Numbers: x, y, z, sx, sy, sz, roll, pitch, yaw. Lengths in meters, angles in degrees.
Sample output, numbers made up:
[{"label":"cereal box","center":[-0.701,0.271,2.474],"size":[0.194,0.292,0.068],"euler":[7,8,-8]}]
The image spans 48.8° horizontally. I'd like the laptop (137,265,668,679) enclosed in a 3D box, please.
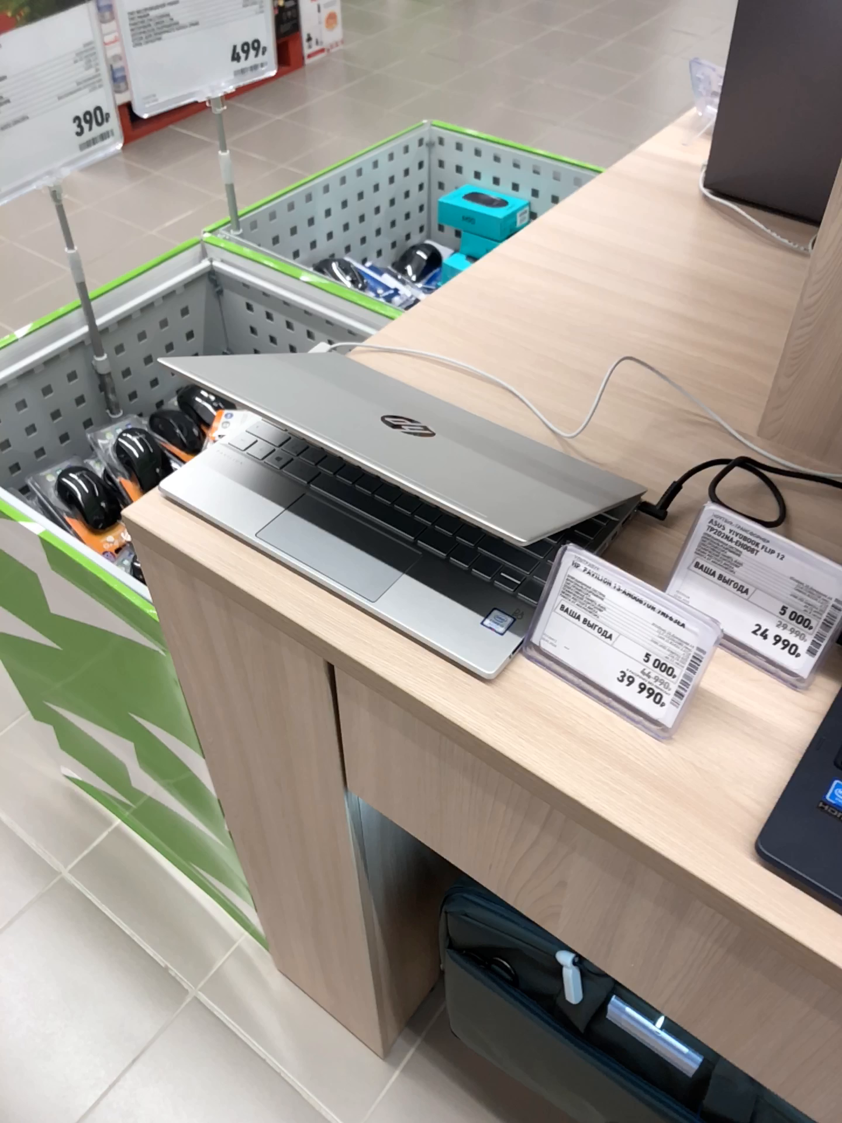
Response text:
[{"label":"laptop","center":[-0.017,-0.087,0.696],"size":[0.322,0.095,0.206],"euler":[28,54,26]}]
